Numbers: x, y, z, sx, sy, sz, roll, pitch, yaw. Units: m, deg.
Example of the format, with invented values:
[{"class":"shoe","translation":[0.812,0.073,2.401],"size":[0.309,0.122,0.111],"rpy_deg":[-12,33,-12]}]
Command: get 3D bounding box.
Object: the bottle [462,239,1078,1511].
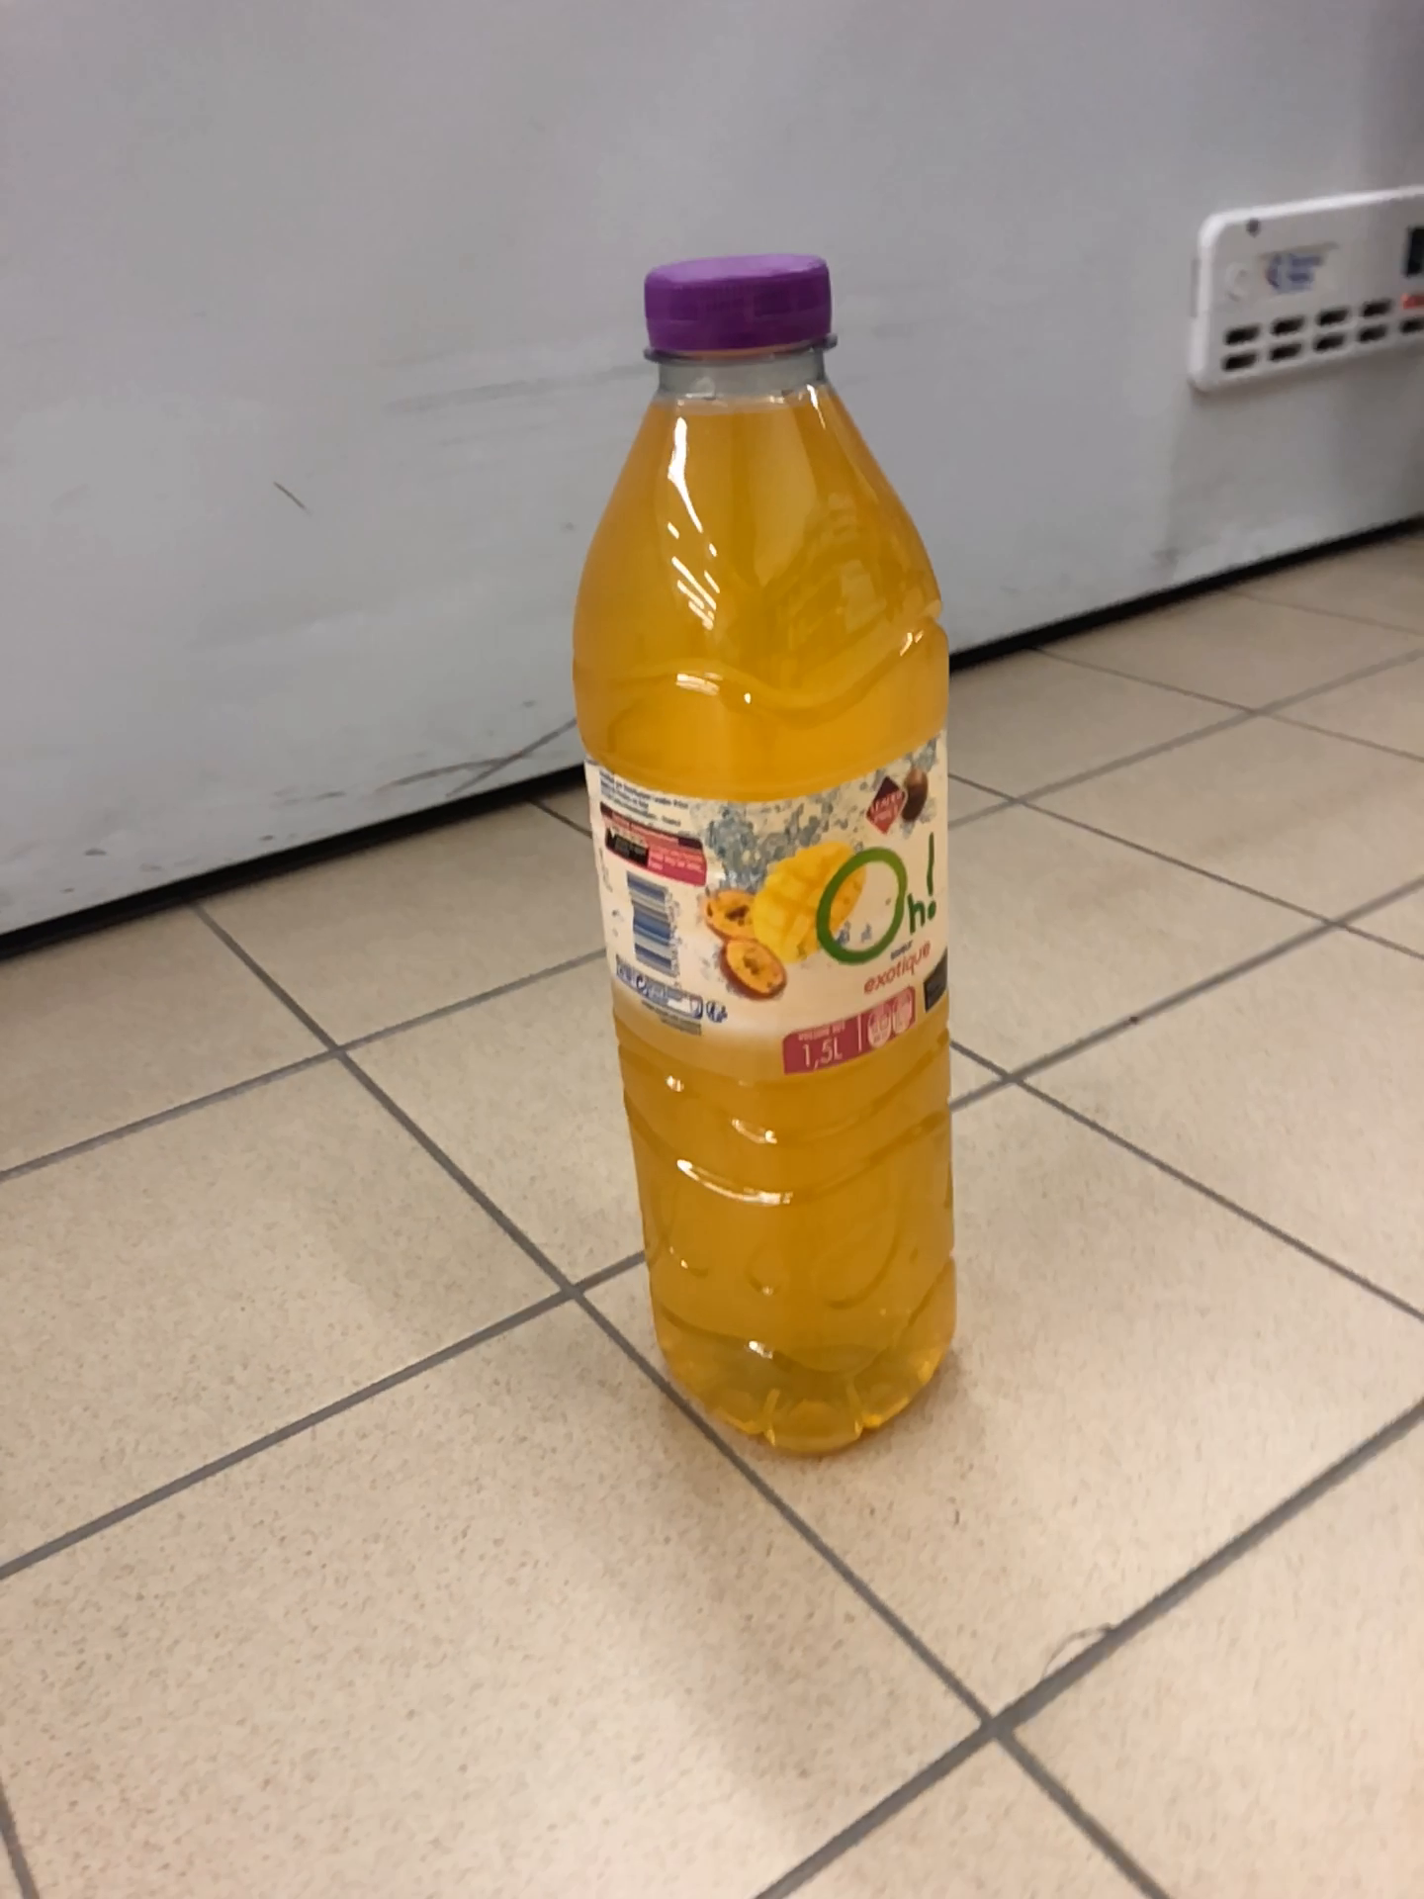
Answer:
[{"class":"bottle","translation":[0.023,-0.016,0.408],"size":[0.101,0.298,0.090],"rpy_deg":[-26,34,-37]}]
